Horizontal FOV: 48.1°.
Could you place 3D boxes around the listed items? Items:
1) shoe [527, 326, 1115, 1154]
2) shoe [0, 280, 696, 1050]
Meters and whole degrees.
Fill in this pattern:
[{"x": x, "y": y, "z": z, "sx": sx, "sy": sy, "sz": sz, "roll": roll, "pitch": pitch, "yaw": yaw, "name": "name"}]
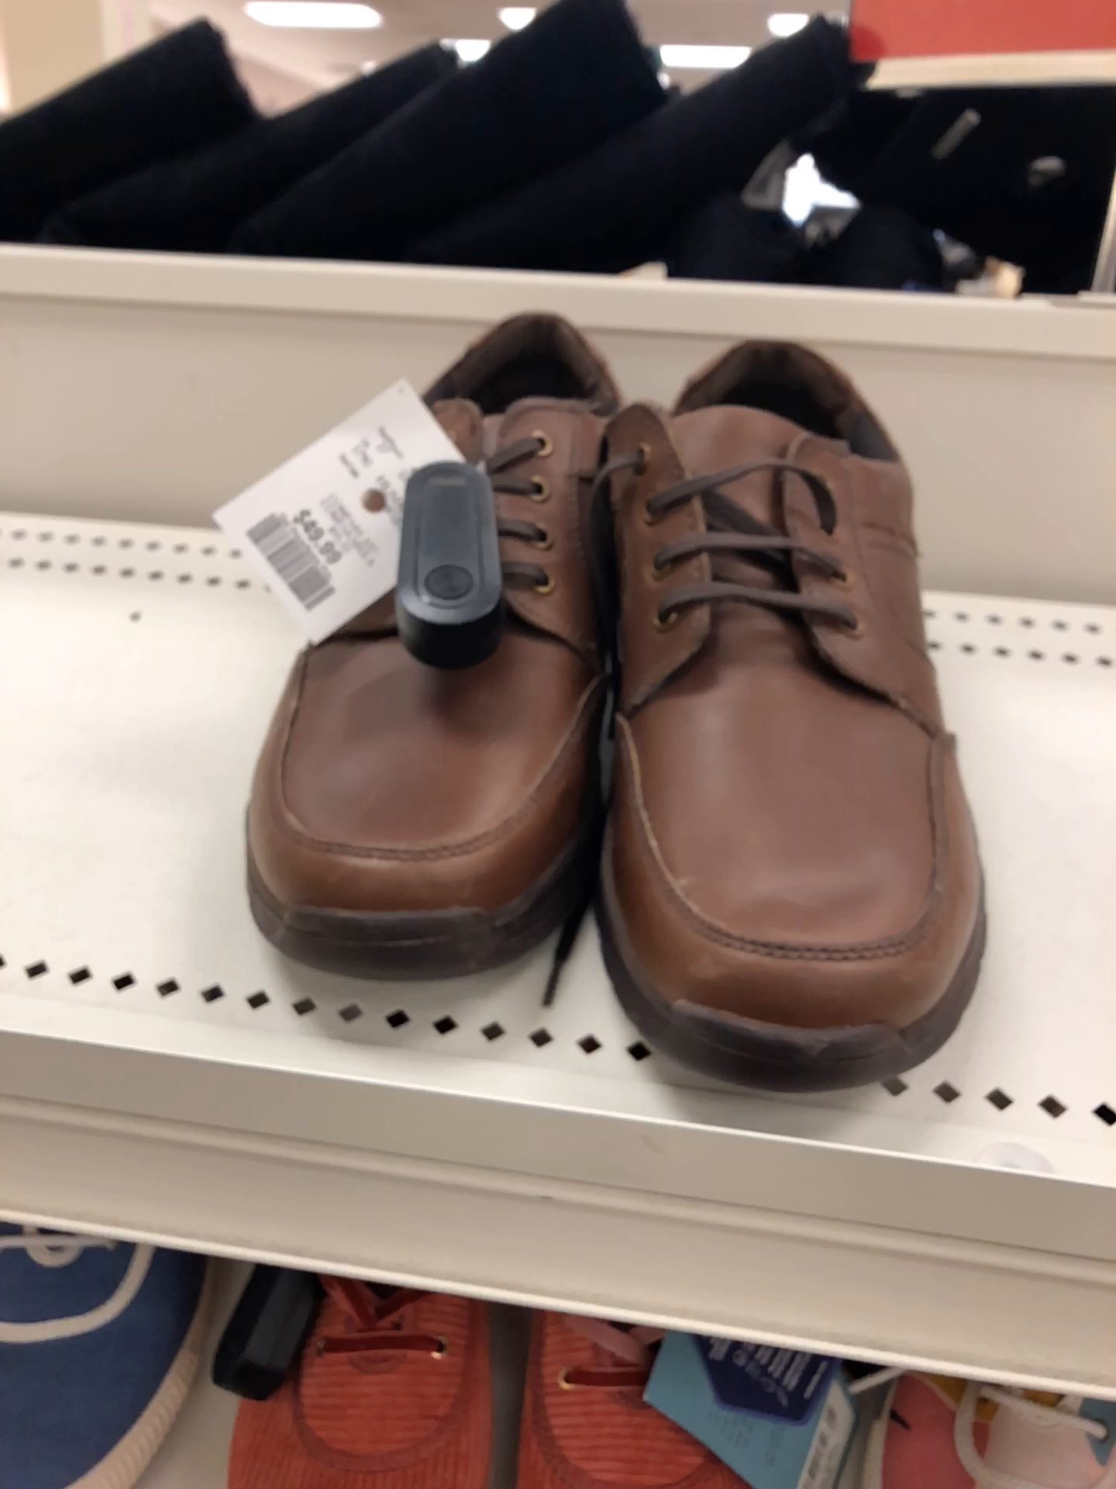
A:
[{"x": 0.073, "y": -0.046, "z": 0.381, "sx": 0.120, "sy": 0.109, "sz": 0.343, "roll": 4, "pitch": 25, "yaw": 5, "name": "shoe"}, {"x": -0.028, "y": -0.064, "z": 0.399, "sx": 0.120, "sy": 0.109, "sz": 0.333, "roll": 5, "pitch": 28, "yaw": 7, "name": "shoe"}]
